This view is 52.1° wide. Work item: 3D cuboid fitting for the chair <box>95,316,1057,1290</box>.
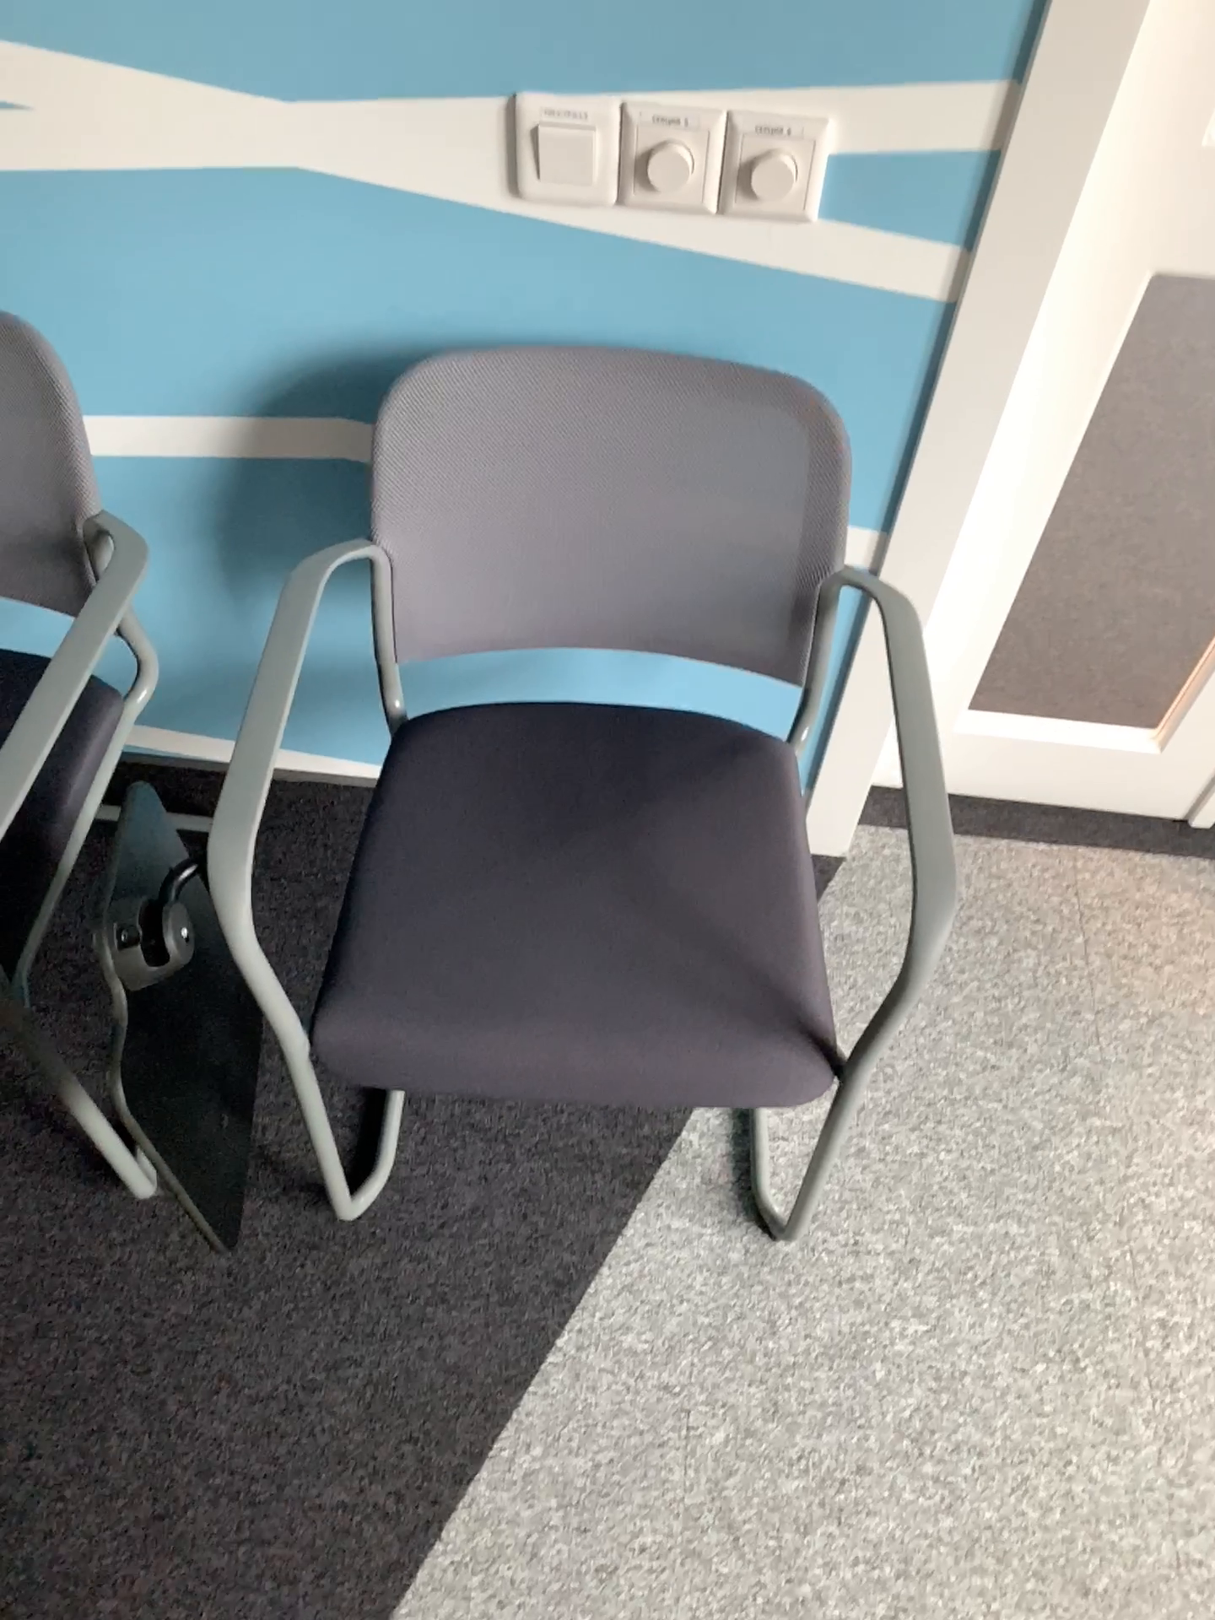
[{"bbox_3d":[-0.014,0.020,1.177,0.570,0.628,0.642,4,54,0],"label":"chair"}]
